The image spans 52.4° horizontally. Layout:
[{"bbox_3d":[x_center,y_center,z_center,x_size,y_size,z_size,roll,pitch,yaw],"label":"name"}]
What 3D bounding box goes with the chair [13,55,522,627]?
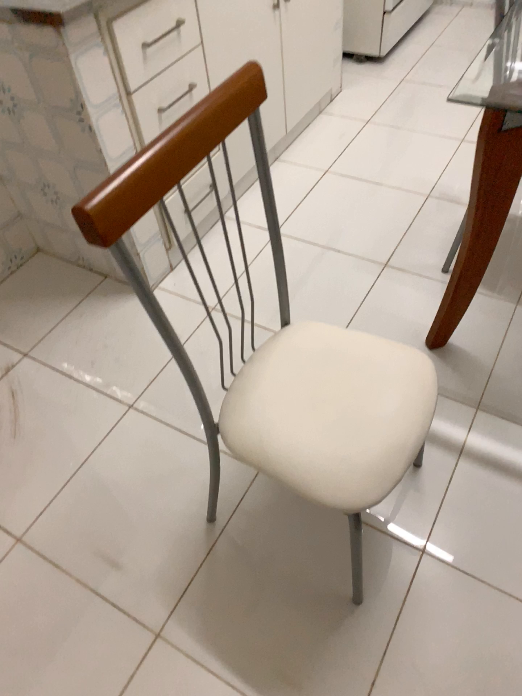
[{"bbox_3d":[0.084,0.050,0.998,0.510,0.886,0.482,22,56,22],"label":"chair"}]
